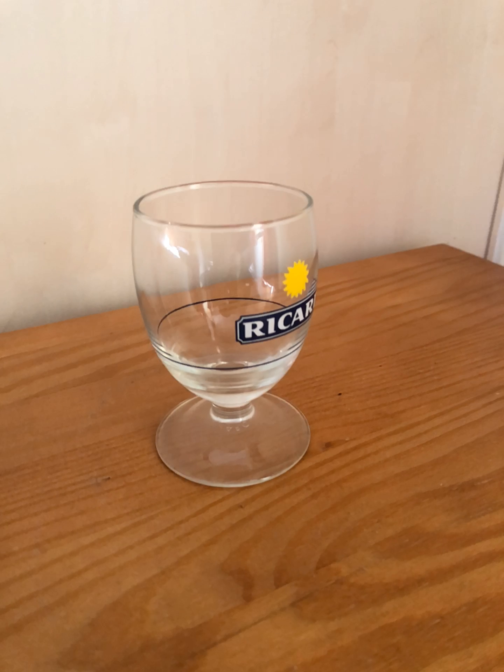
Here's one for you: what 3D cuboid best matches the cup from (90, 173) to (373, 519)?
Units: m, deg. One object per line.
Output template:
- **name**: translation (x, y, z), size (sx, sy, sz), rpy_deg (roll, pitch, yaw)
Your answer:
- **cup**: translation (-0.006, -0.003, 0.214), size (0.069, 0.098, 0.070), rpy_deg (0, 27, 0)
